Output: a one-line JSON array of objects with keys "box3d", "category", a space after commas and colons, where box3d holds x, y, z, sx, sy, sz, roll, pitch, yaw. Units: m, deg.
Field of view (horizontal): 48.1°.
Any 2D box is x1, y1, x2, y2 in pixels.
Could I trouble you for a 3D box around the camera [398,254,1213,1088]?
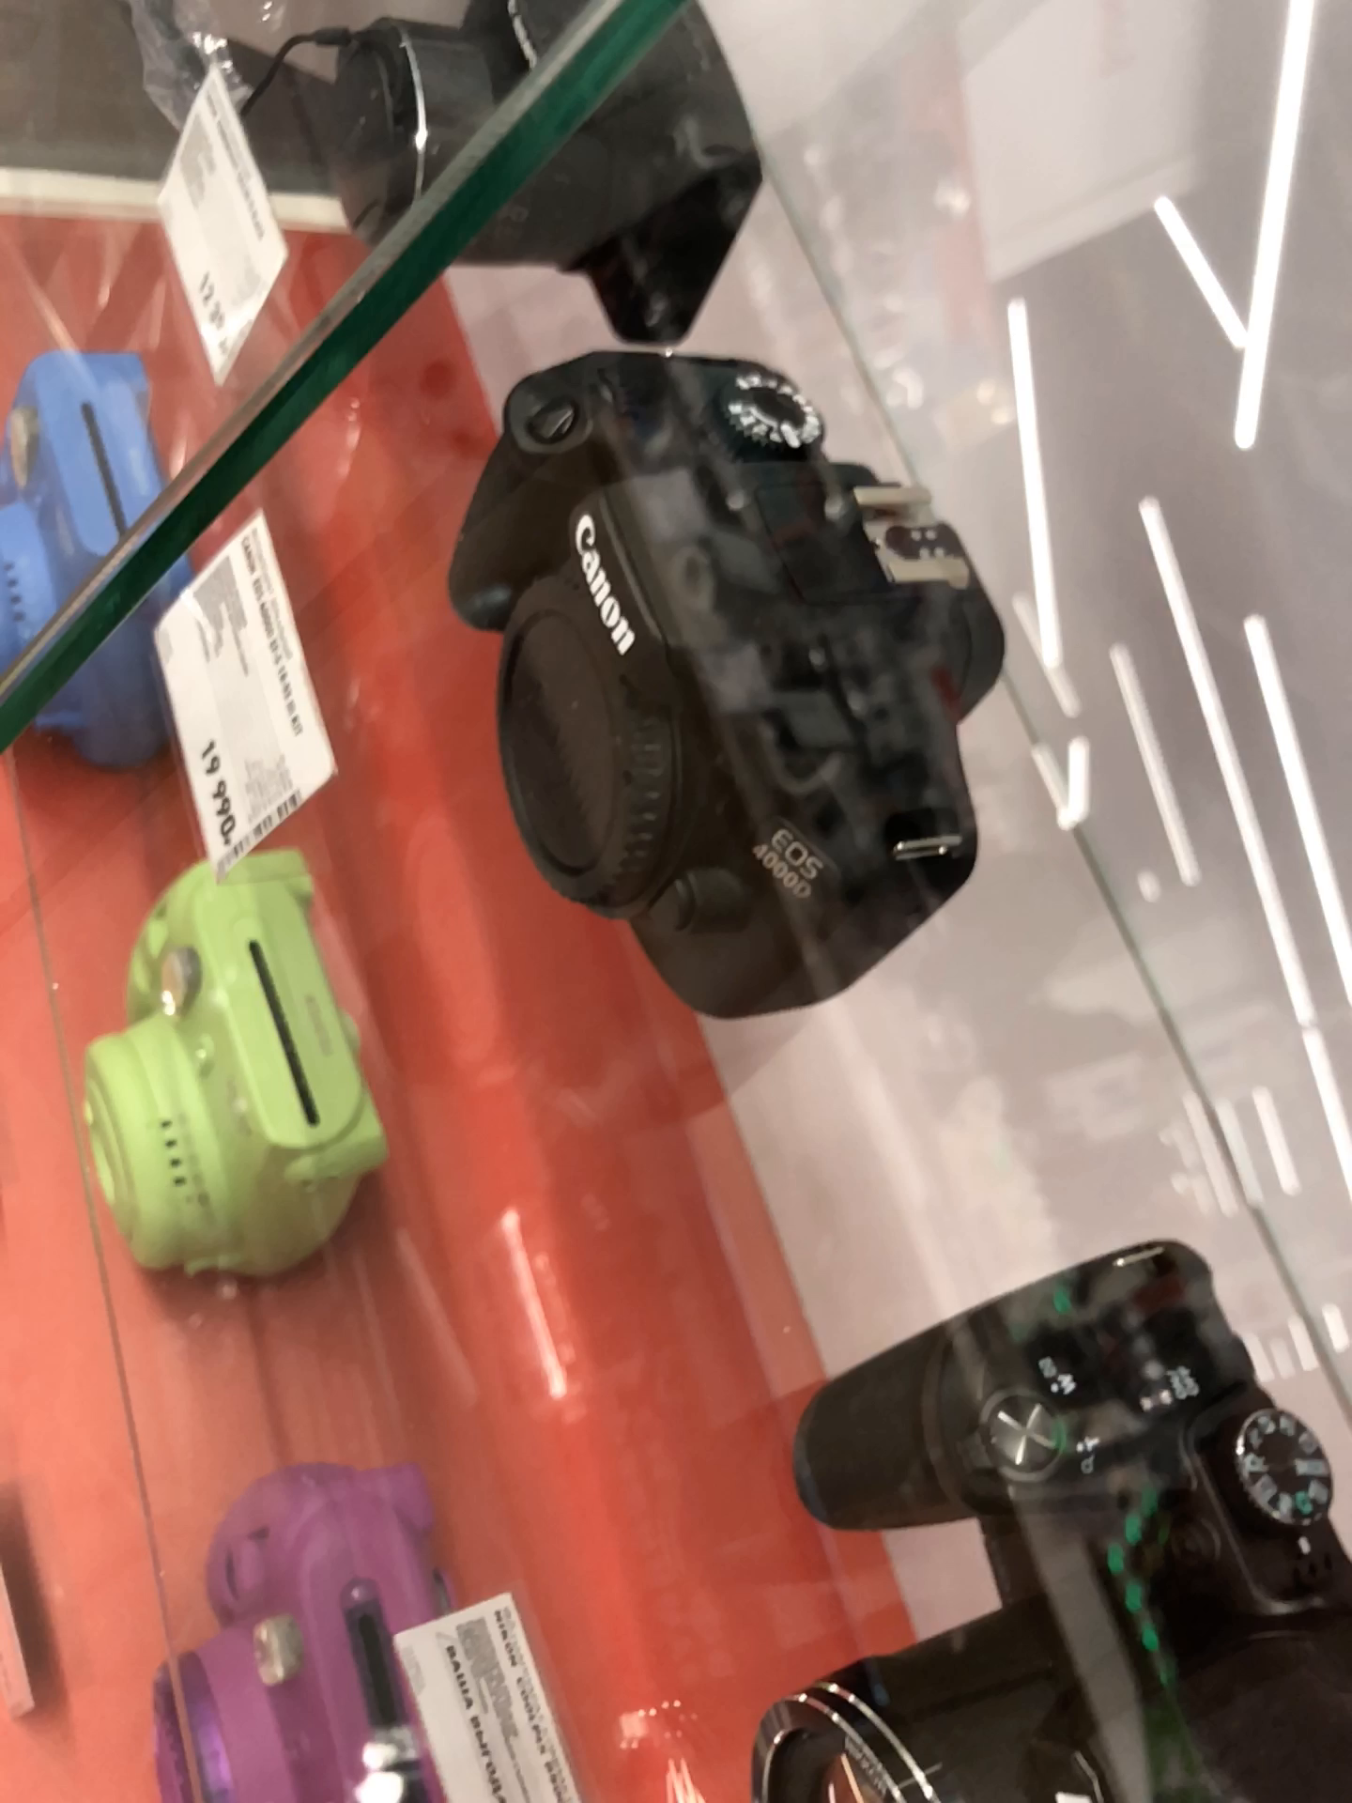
[{"box3d": [0.018, -0.049, 0.314, 0.100, 0.083, 0.136, -10, 68, -28], "category": "camera"}]
